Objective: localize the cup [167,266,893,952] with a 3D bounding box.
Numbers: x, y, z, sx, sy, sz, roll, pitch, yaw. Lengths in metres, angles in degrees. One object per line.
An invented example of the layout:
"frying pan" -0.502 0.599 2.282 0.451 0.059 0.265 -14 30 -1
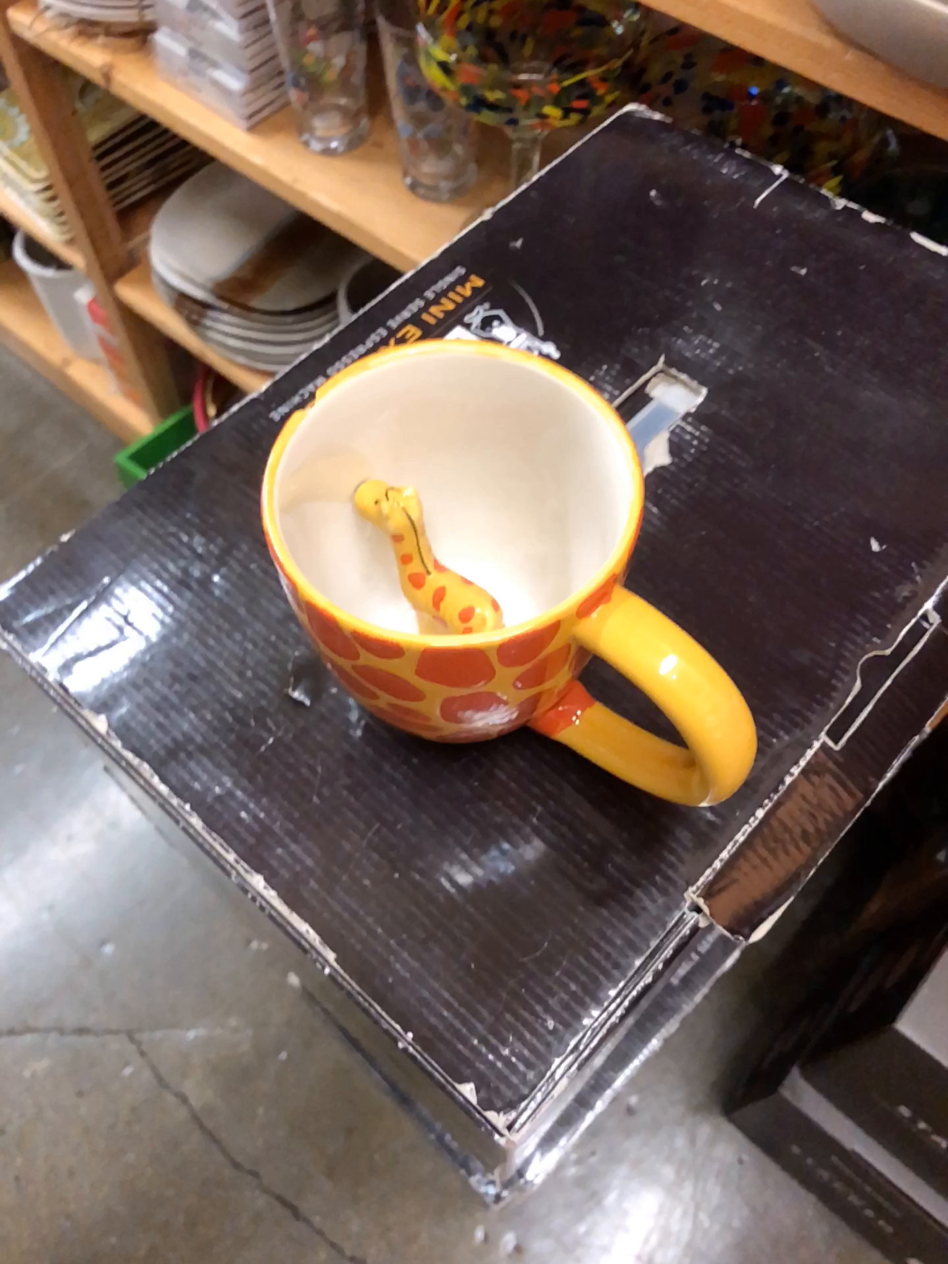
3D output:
"cup" 0.011 -0.009 0.273 0.134 0.067 0.102 40 69 19
